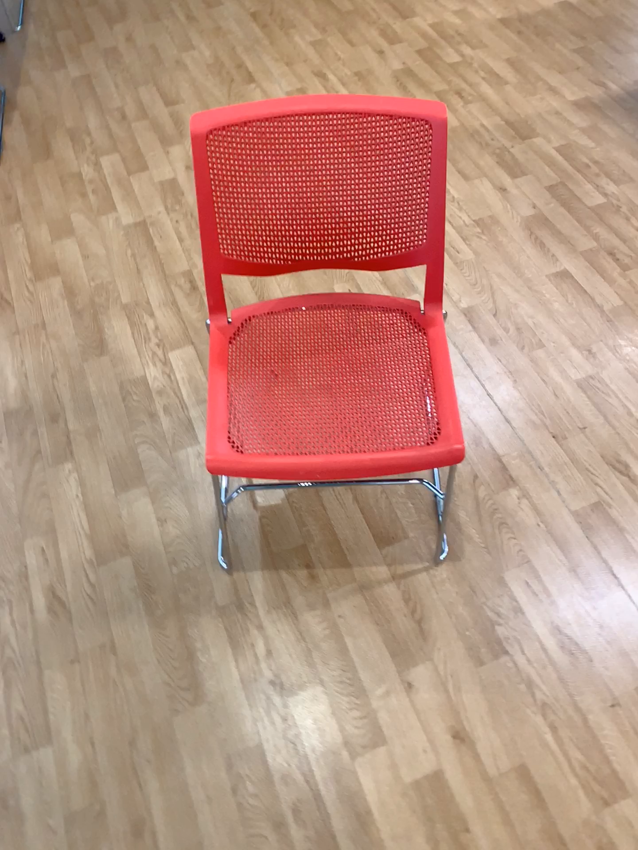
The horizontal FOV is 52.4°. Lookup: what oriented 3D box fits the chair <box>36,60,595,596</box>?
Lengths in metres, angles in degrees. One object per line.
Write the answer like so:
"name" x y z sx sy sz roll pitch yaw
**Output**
"chair" -0.012 -0.125 1.154 0.600 0.705 0.594 -3 55 -1
